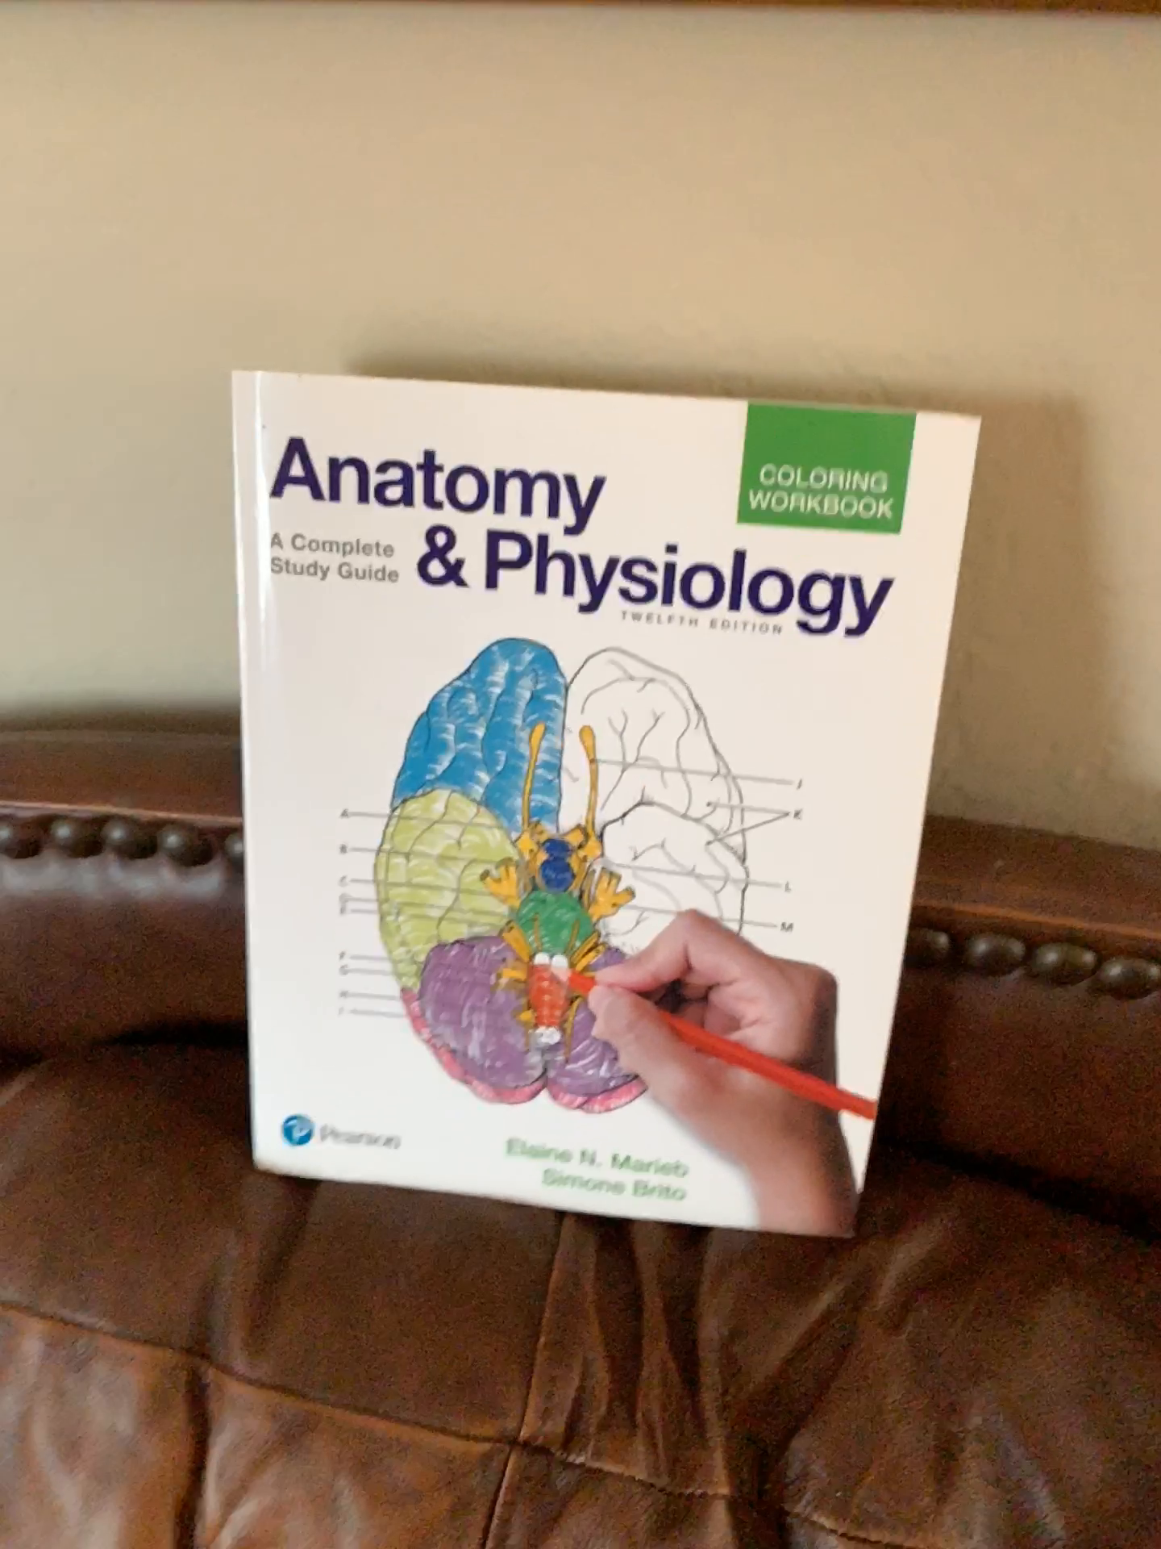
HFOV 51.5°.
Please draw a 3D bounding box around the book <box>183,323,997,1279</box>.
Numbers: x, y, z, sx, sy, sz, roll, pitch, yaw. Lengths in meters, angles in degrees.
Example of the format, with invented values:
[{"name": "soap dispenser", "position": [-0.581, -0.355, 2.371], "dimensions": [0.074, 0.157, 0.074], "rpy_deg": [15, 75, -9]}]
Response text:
[{"name": "book", "position": [-0.002, 0.011, 0.393], "dimensions": [0.220, 0.289, 0.060], "rpy_deg": [4, 17, 7]}]
